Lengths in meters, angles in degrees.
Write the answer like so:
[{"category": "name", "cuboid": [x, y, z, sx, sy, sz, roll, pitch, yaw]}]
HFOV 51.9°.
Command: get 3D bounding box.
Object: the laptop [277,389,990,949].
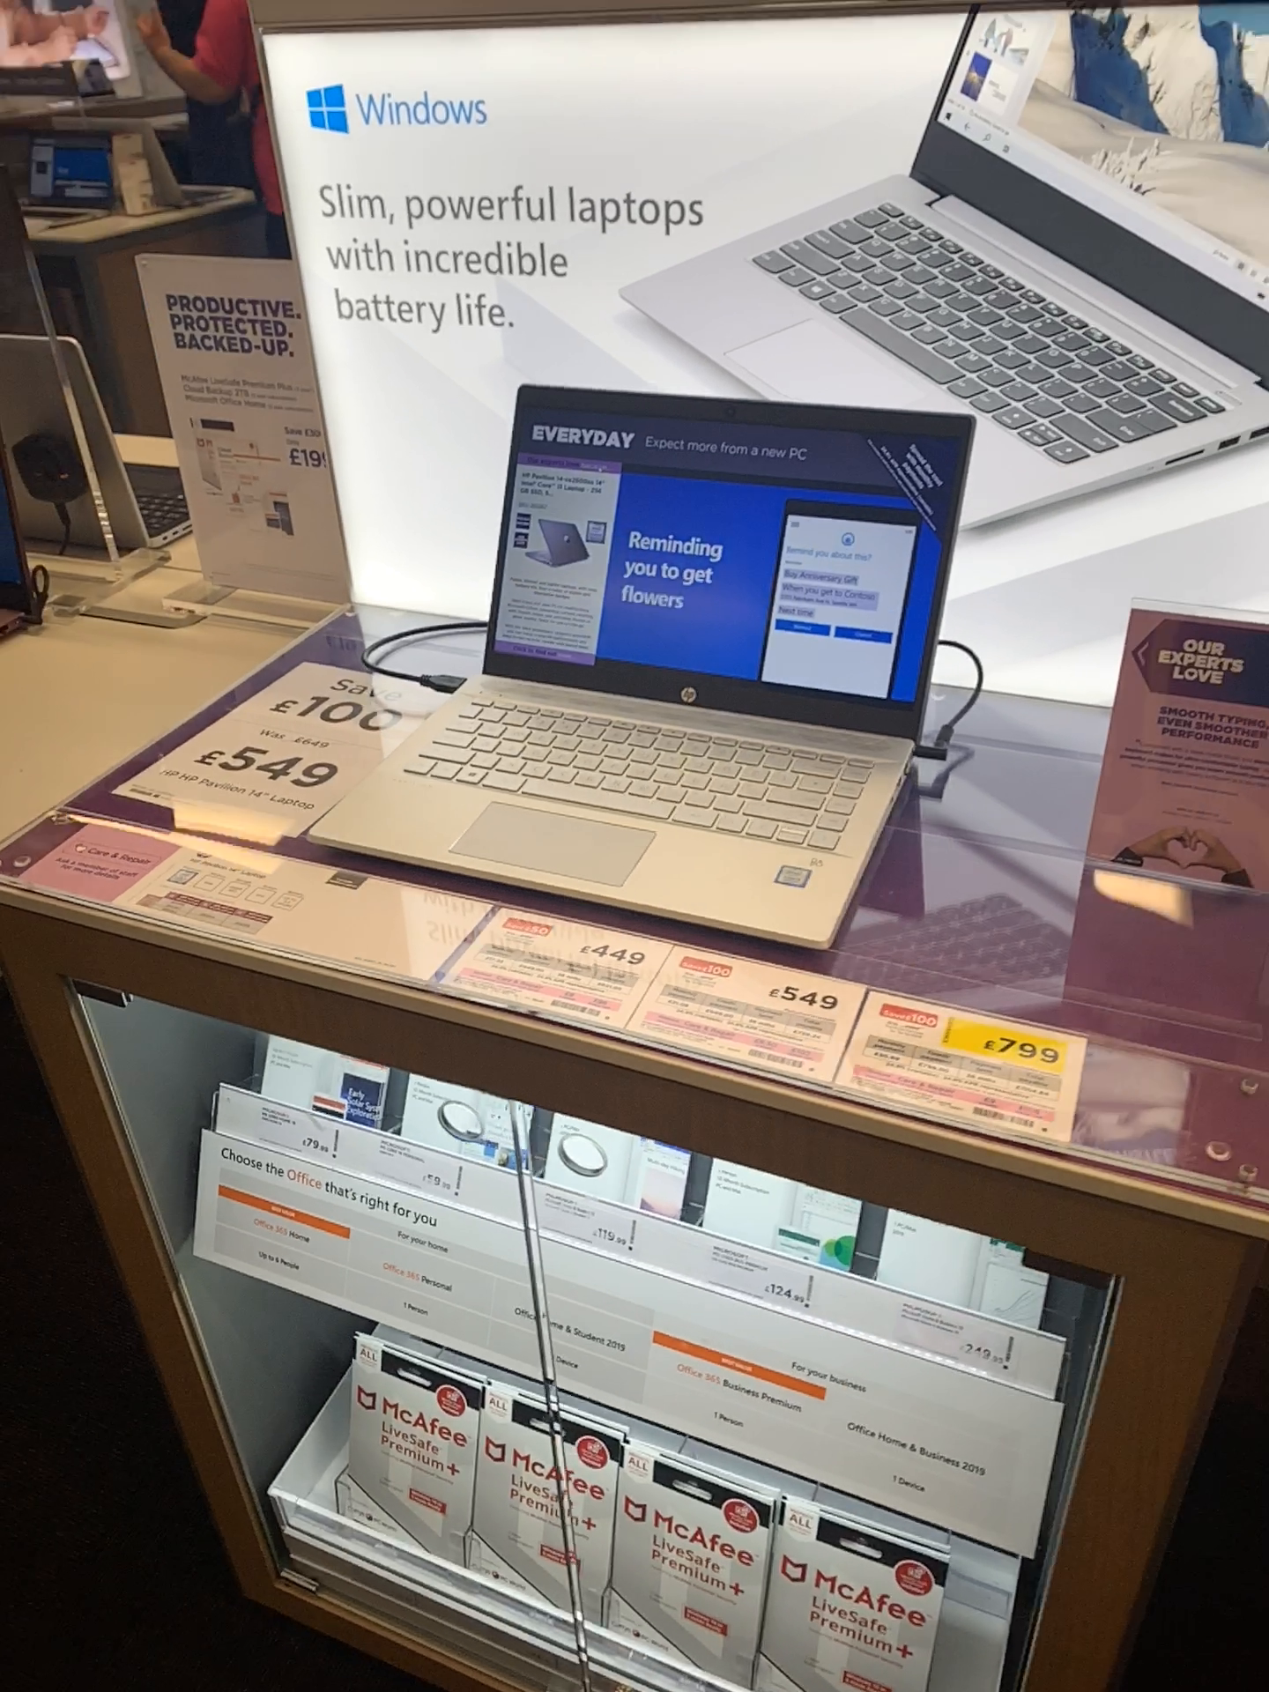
[{"category": "laptop", "cuboid": [0.021, -0.136, 0.796, 0.313, 0.171, 0.324, 11, 37, 20]}]
